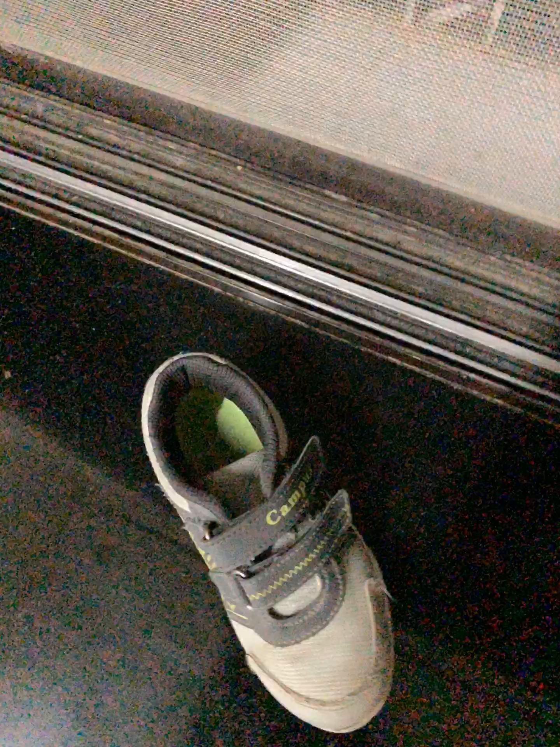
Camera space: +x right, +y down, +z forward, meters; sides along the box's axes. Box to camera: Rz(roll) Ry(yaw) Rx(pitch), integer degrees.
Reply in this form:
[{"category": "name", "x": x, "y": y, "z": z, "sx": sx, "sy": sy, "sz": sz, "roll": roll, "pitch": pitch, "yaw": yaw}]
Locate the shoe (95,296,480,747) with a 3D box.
[{"category": "shoe", "x": -0.006, "y": 0.086, "z": 0.317, "sx": 0.090, "sy": 0.080, "sz": 0.231, "roll": -26, "pitch": 71, "yaw": -8}]
